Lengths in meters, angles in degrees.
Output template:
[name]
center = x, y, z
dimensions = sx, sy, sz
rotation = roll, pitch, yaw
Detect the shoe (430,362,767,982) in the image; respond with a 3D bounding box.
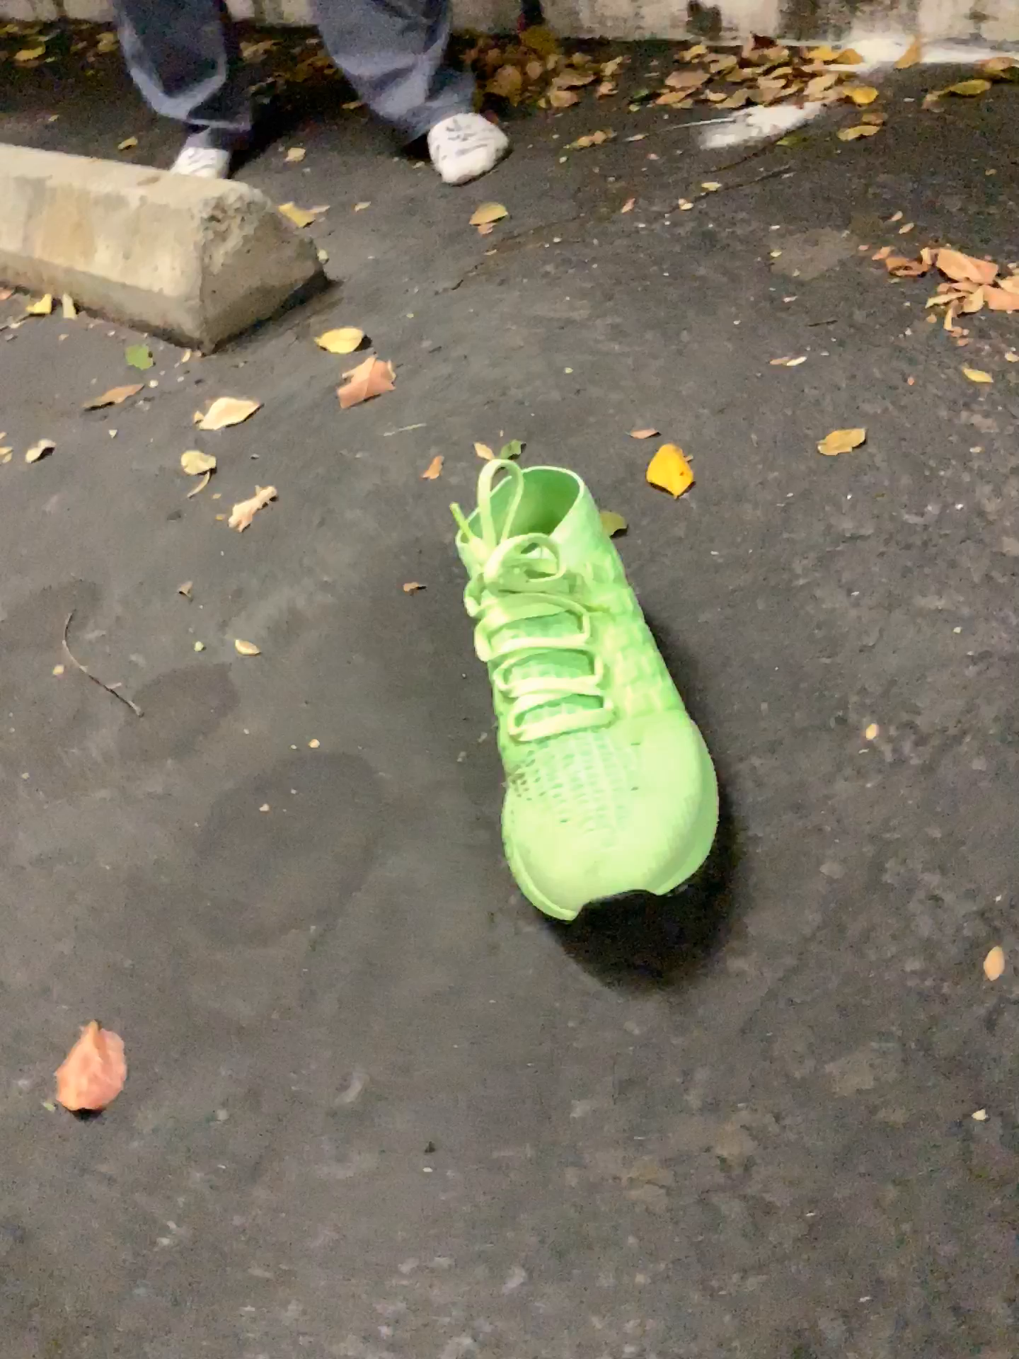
[shoe]
center = 0.048, -0.022, 0.607
dimensions = 0.130, 0.150, 0.320
rotation = -5, 40, 7
